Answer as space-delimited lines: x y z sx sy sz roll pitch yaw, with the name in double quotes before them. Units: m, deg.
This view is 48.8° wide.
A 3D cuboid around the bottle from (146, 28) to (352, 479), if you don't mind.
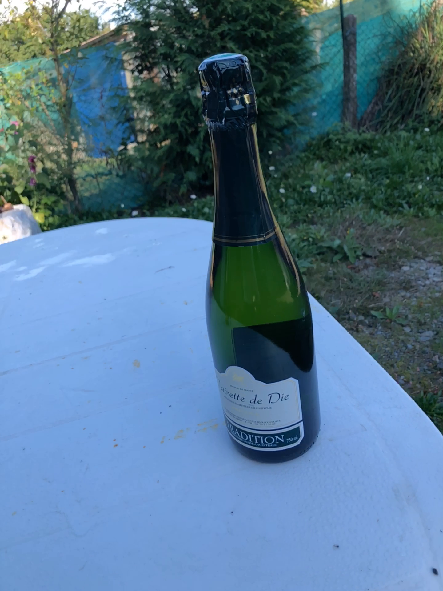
"bottle" 0.038 -0.022 0.374 0.090 0.308 0.101 10 31 32
